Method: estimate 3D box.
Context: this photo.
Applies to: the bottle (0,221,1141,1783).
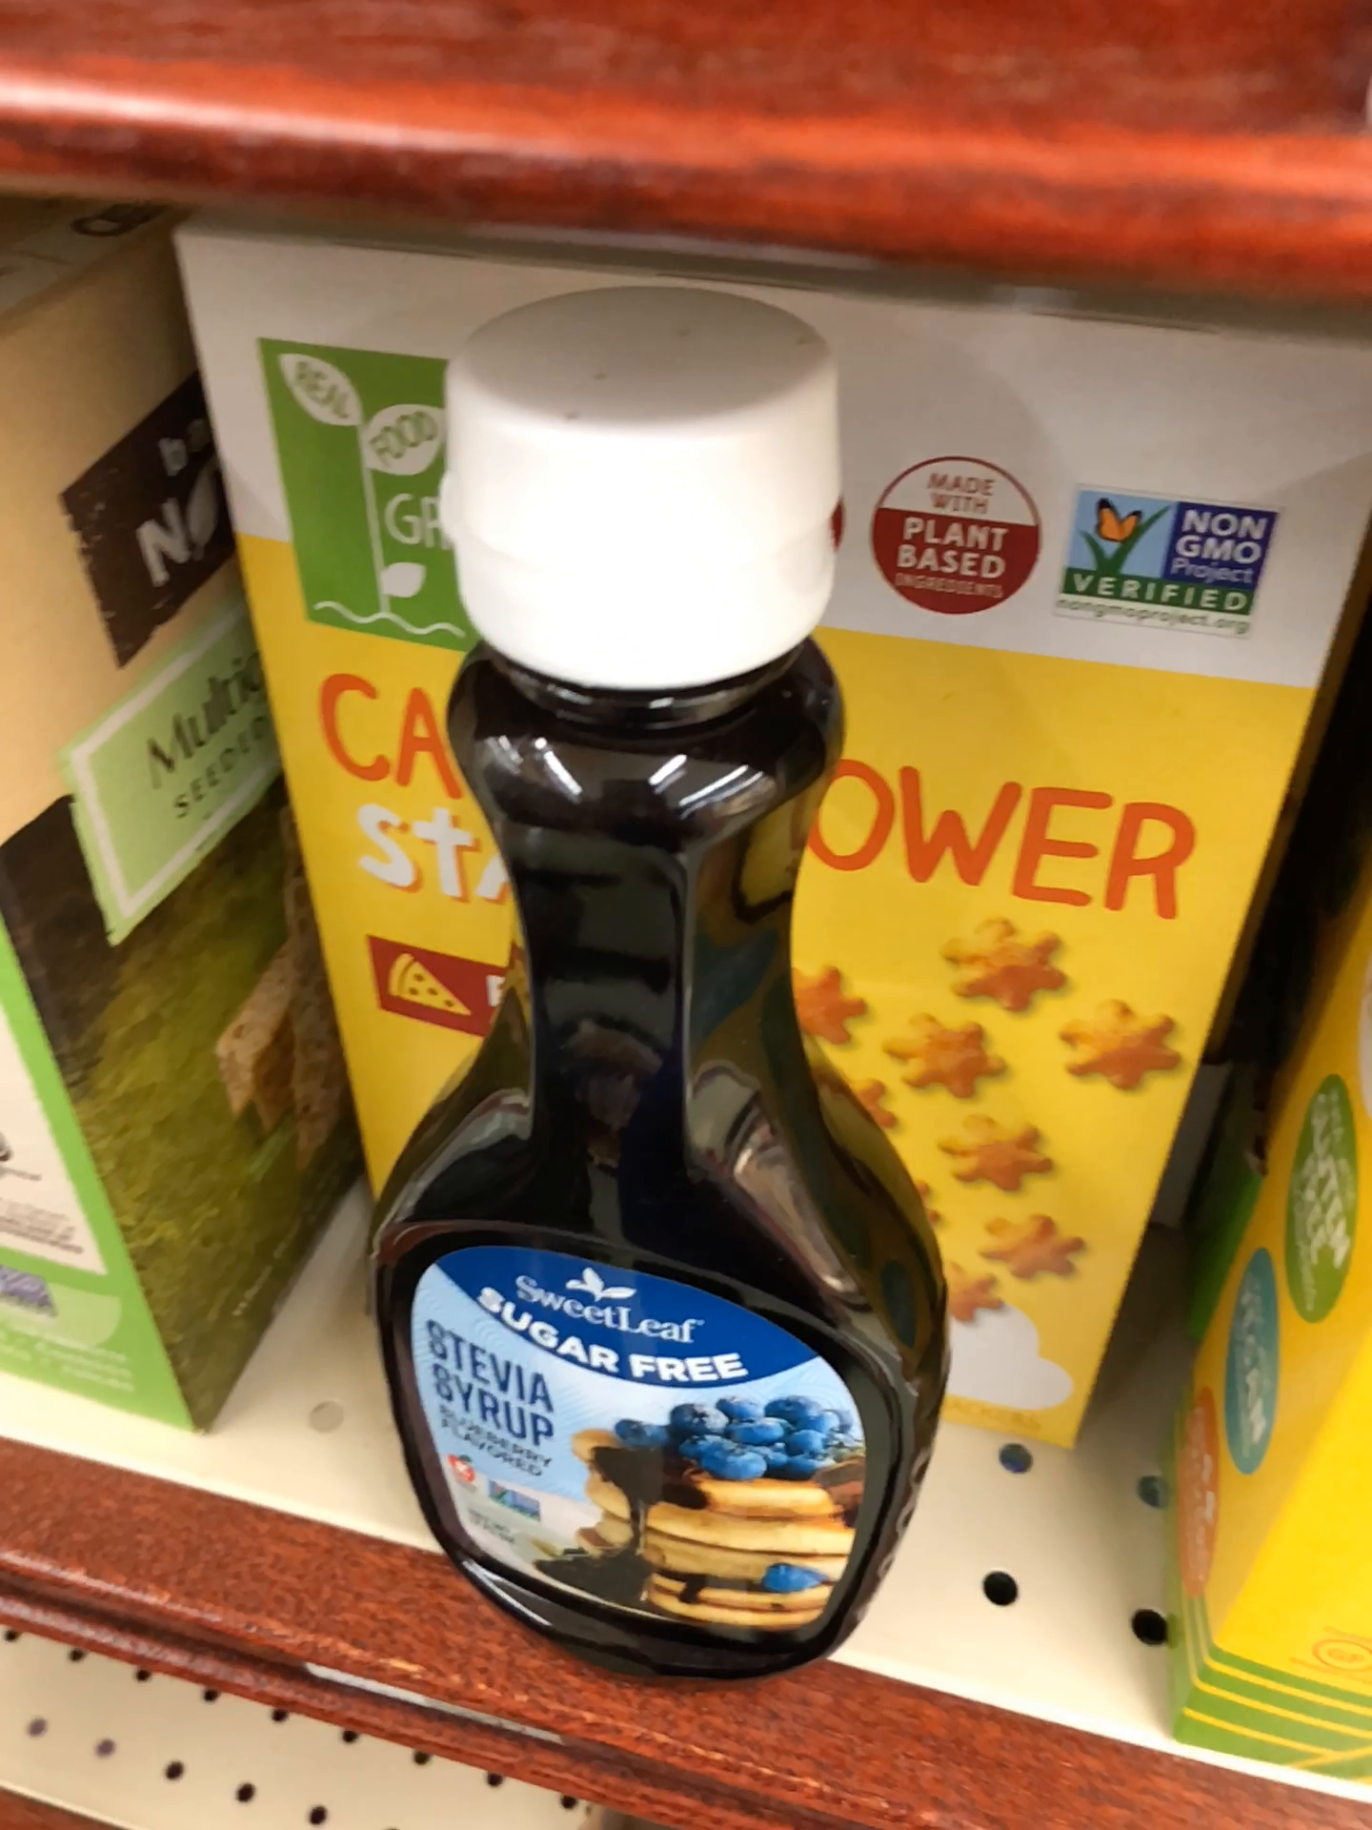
[{"bbox_3d":[-0.007,0.031,0.191,0.080,0.199,0.050,13,44,14],"label":"bottle"}]
